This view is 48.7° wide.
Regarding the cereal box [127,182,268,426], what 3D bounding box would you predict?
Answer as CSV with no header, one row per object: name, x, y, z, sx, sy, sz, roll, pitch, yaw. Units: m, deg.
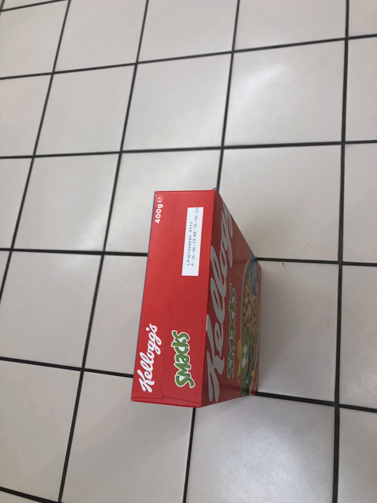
cereal box,0.037,0.077,0.489,0.080,0.300,0.200,-1,73,16
